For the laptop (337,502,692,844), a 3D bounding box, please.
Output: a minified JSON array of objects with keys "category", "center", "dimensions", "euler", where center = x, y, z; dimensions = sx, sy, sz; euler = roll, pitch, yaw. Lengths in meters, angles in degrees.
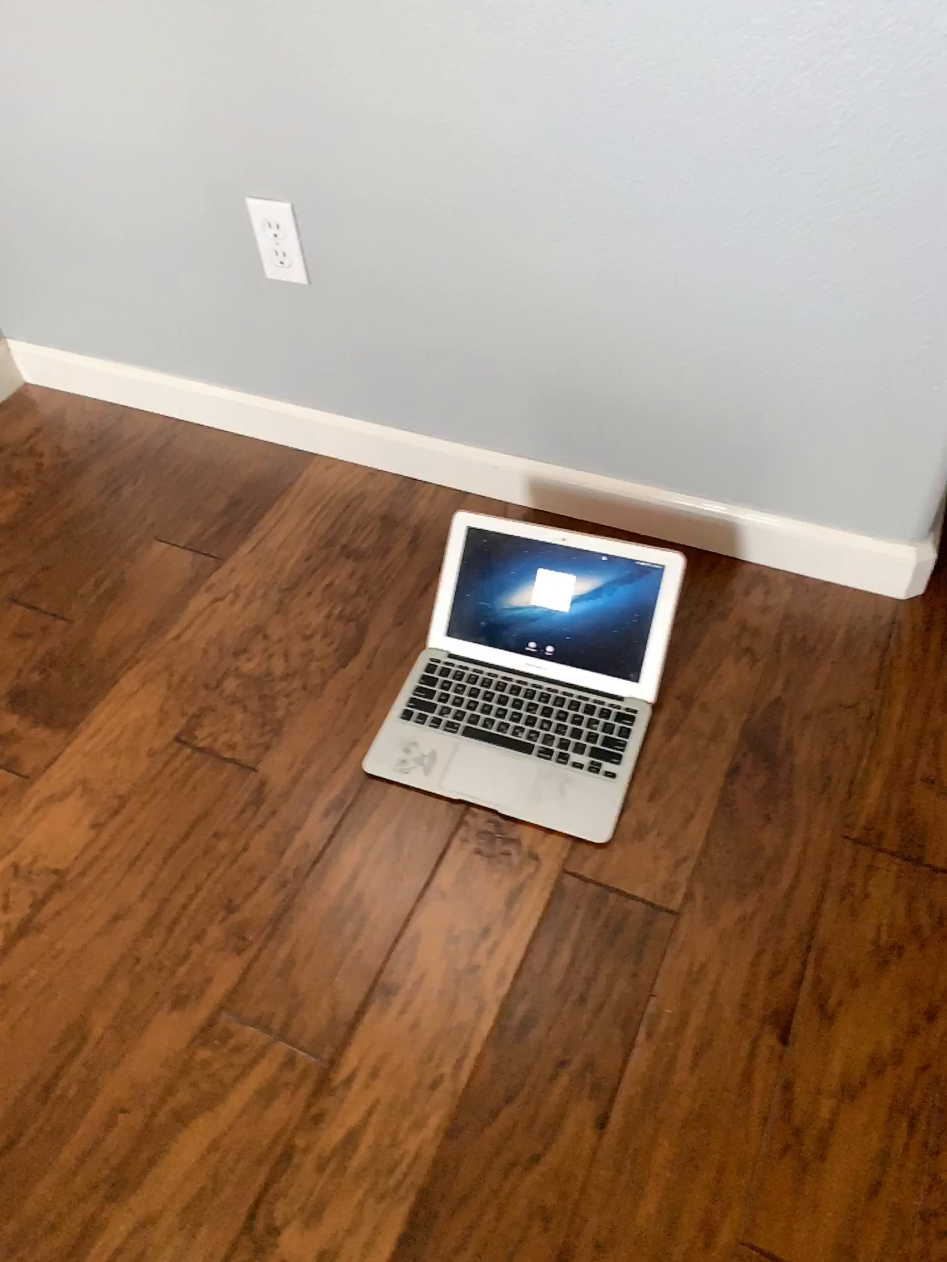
[{"category":"laptop","center":[0.058,0.030,1.095],"dimensions":[0.293,0.117,0.324],"euler":[14,53,19]}]
